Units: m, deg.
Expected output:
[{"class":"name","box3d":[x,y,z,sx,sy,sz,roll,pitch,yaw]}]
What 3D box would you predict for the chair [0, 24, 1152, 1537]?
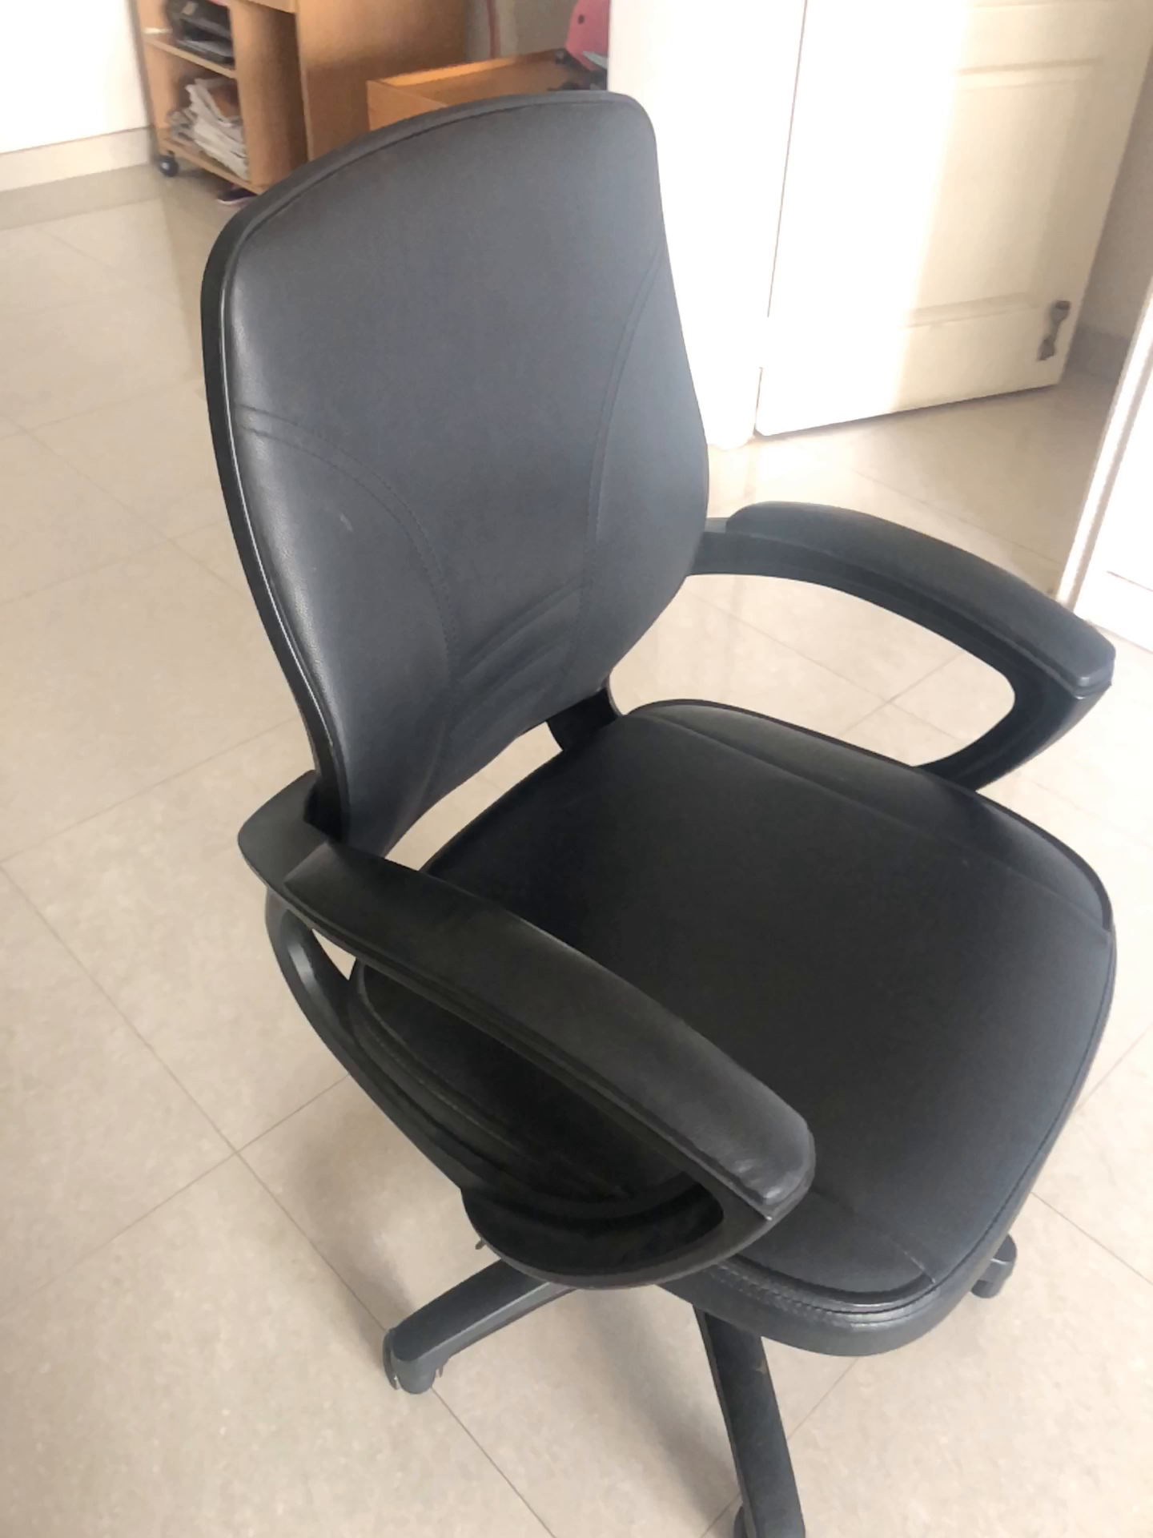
[{"class":"chair","box3d":[0.120,0.069,0.965,0.632,0.953,0.703,27,46,27]}]
